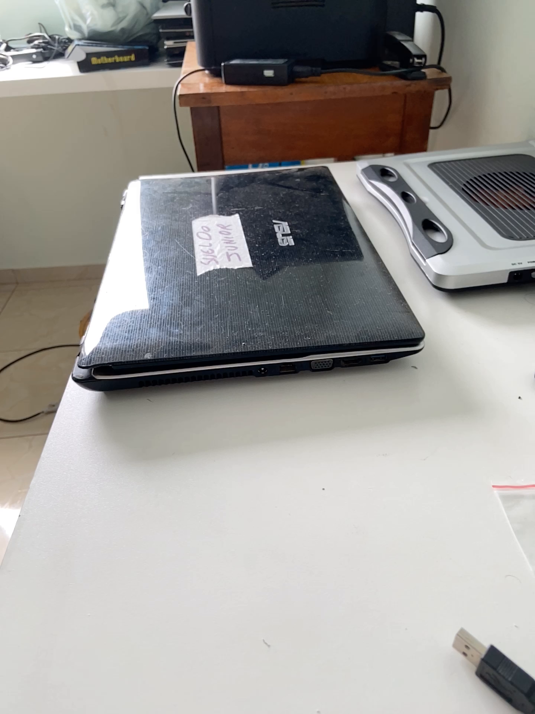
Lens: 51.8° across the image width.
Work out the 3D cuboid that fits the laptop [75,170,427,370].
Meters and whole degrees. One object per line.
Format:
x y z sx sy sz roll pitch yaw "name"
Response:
-0.029 -0.109 0.516 0.236 0.001 0.365 -6 36 -3 "laptop"
